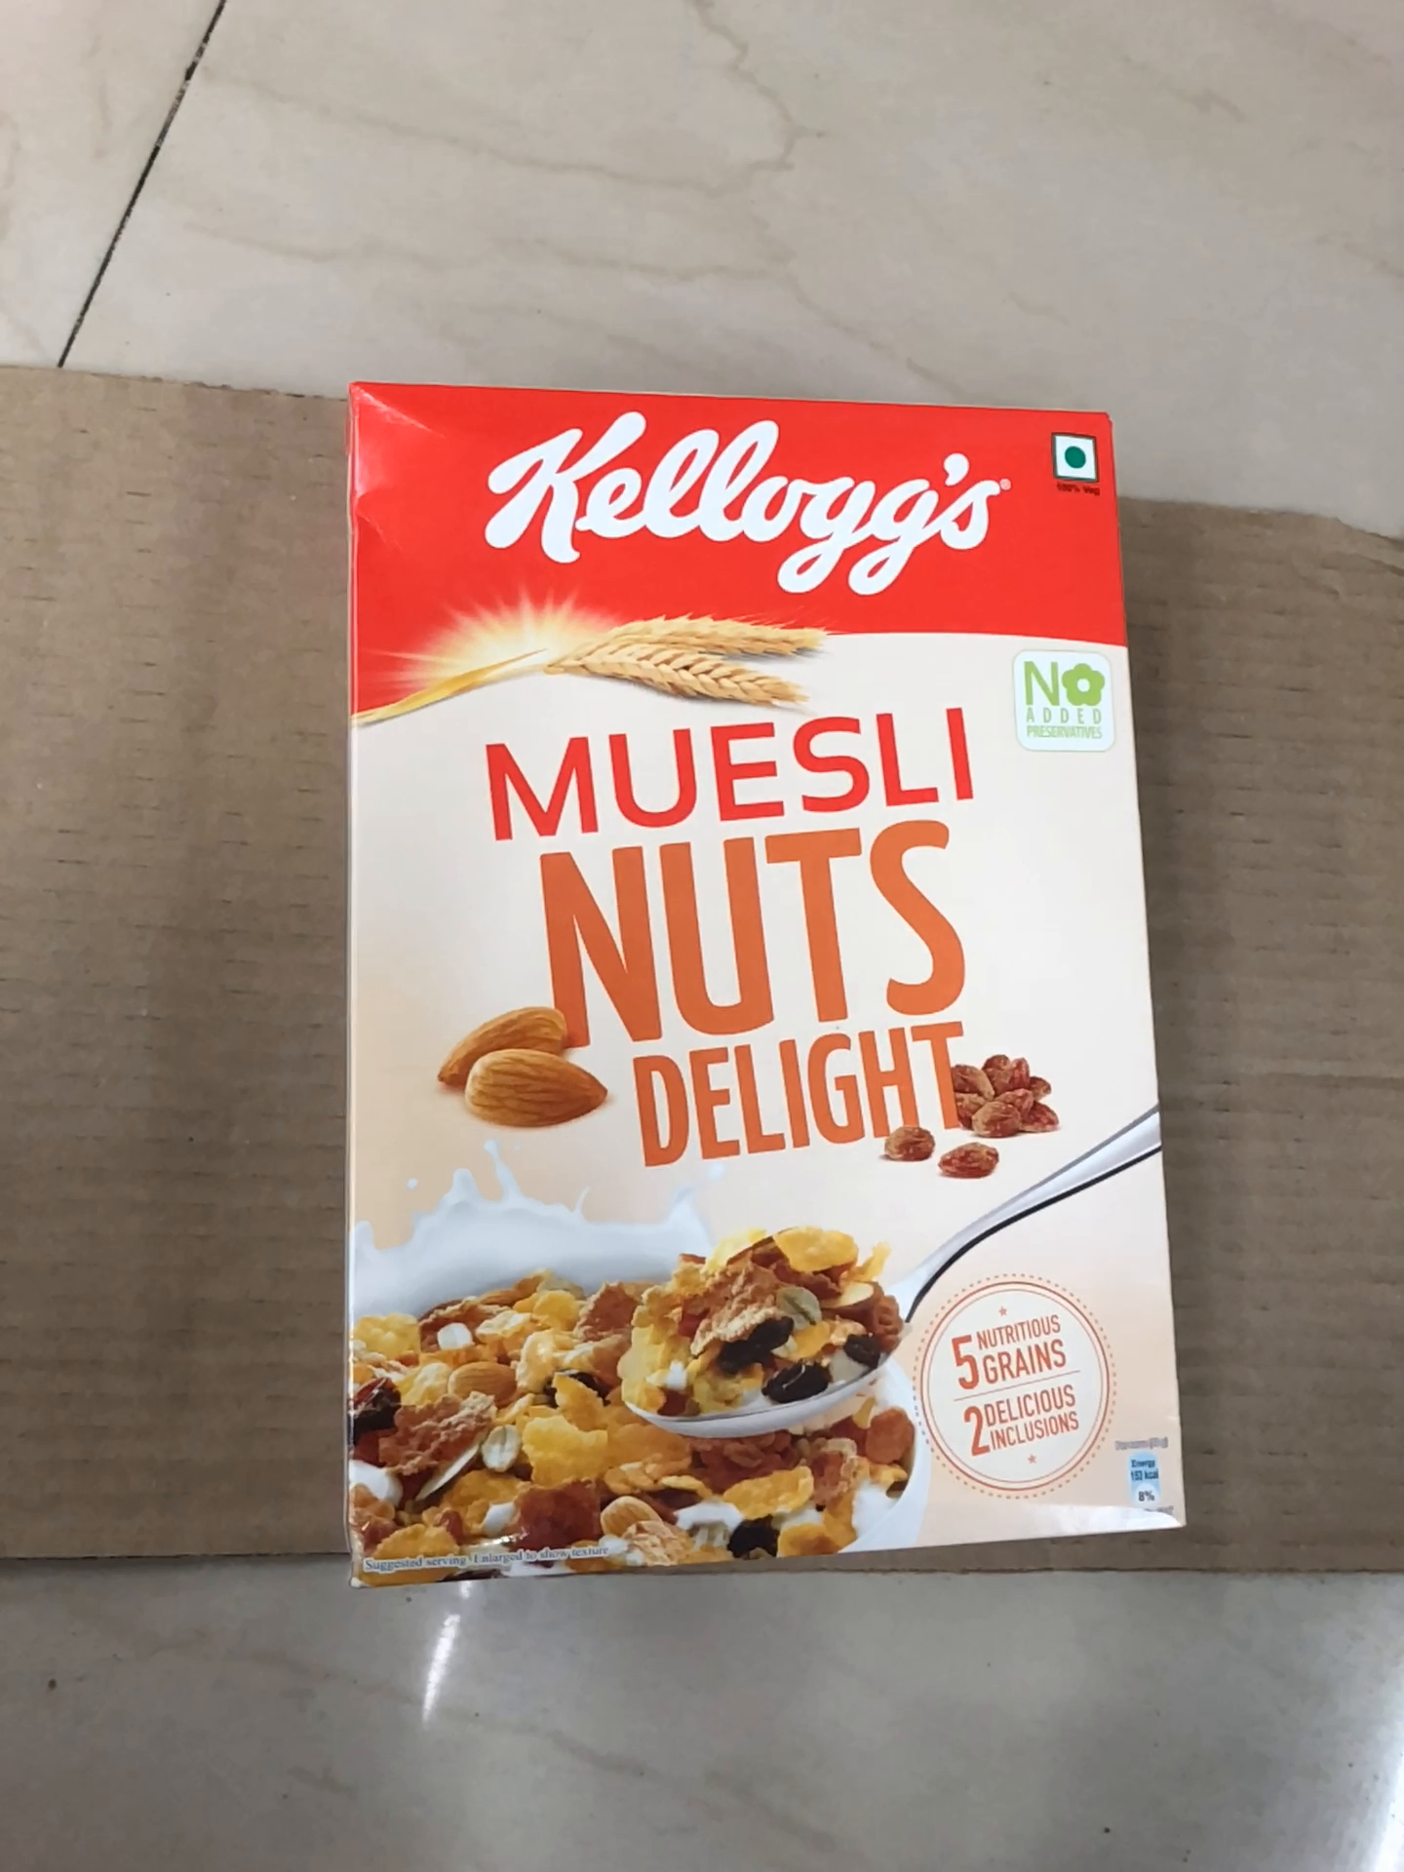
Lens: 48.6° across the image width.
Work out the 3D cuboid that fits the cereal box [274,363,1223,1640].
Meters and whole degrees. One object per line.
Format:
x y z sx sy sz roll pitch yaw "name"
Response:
0.005 0.010 0.359 0.190 0.080 0.250 -1 86 -9 "cereal box"
